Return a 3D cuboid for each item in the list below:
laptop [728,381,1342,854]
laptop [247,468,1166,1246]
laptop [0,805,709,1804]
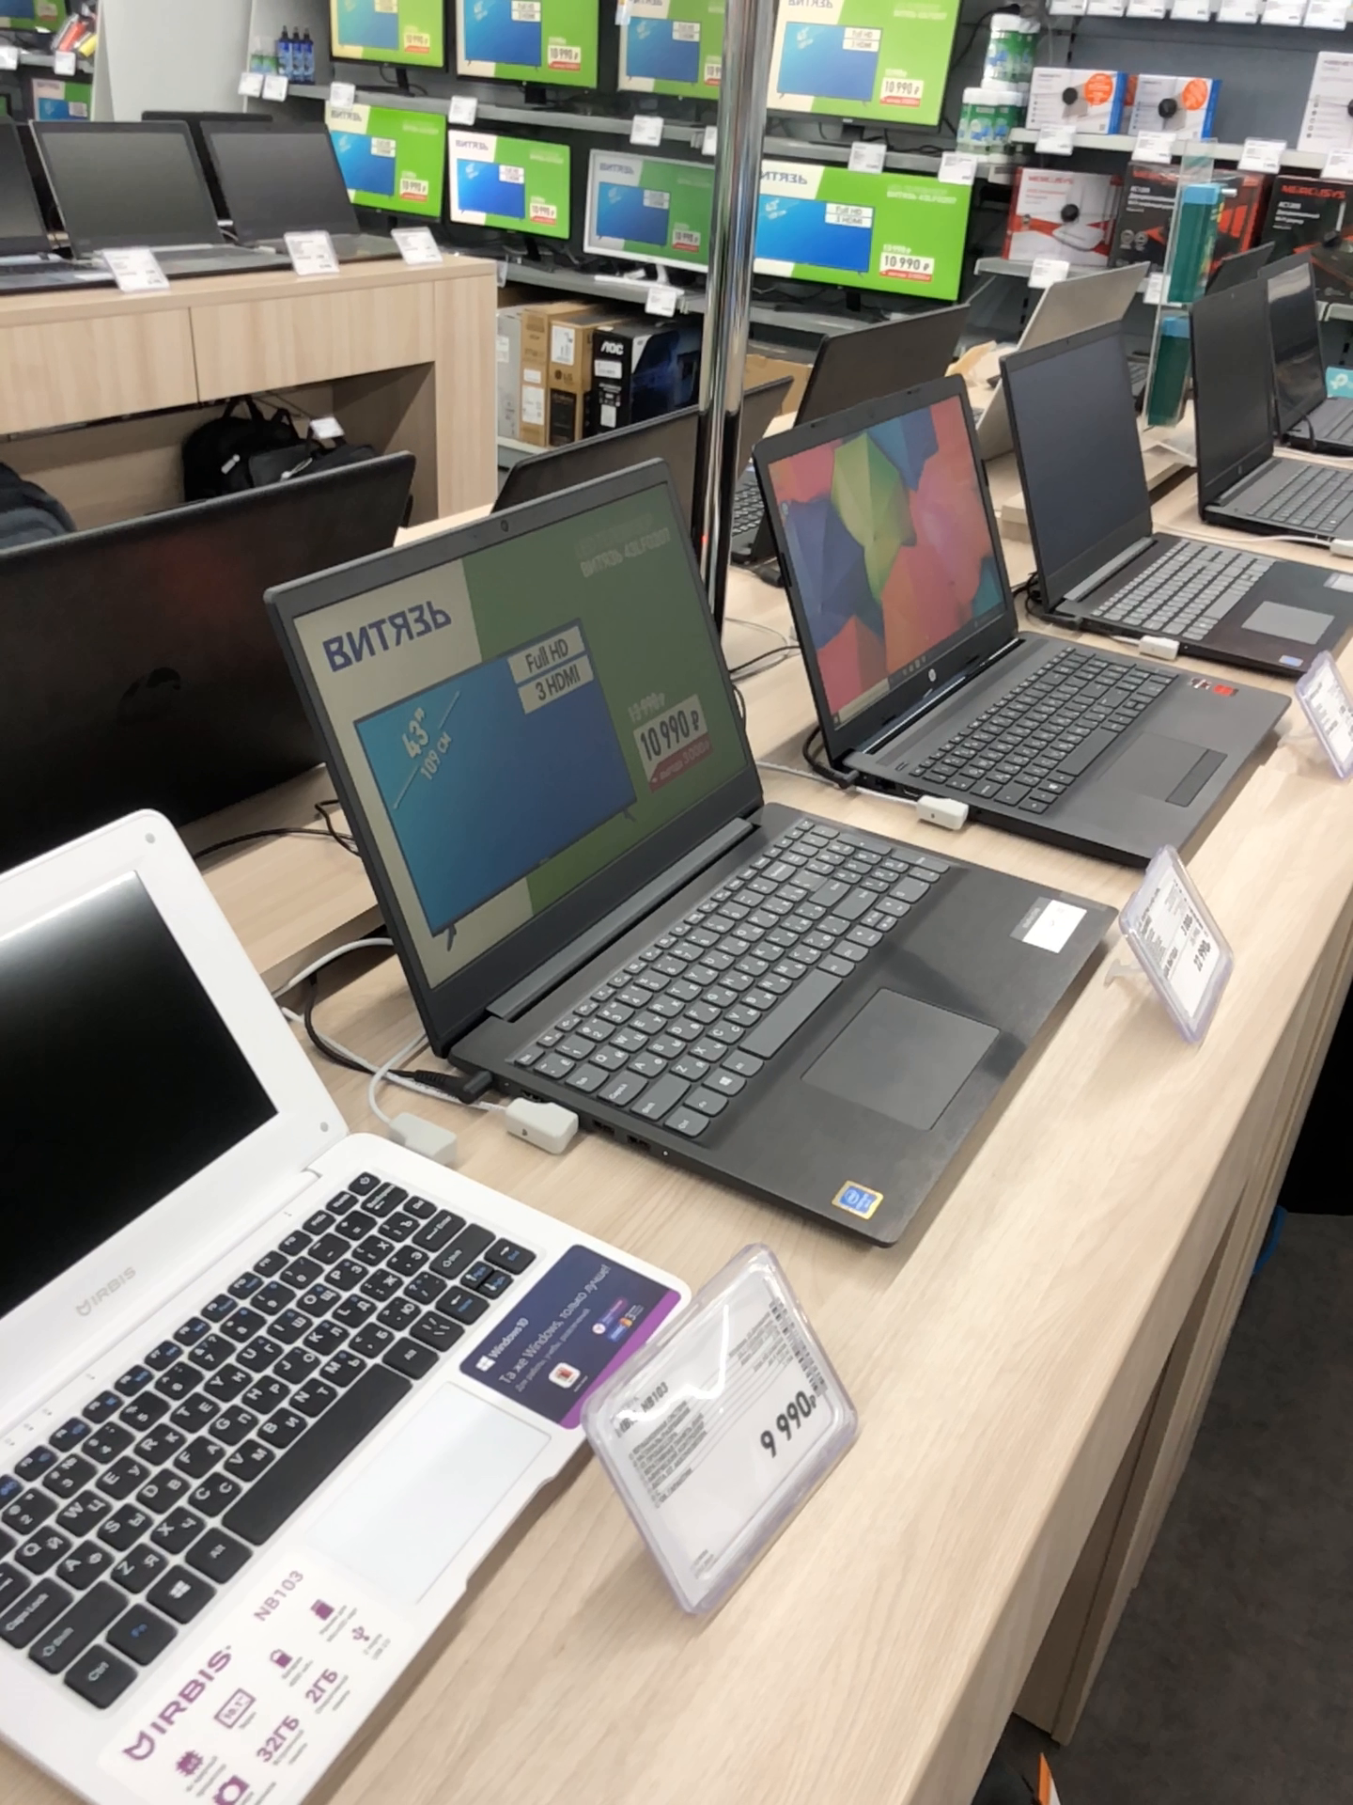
[{"bbox_3d":[0.281,-0.245,1.140,0.321,0.206,0.376,20,32,25],"label":"laptop"},{"bbox_3d":[0.030,-0.066,0.796,0.340,0.212,0.356,19,31,23],"label":"laptop"},{"bbox_3d":[-0.186,0.116,0.522,0.289,0.139,0.280,18,32,23],"label":"laptop"}]
